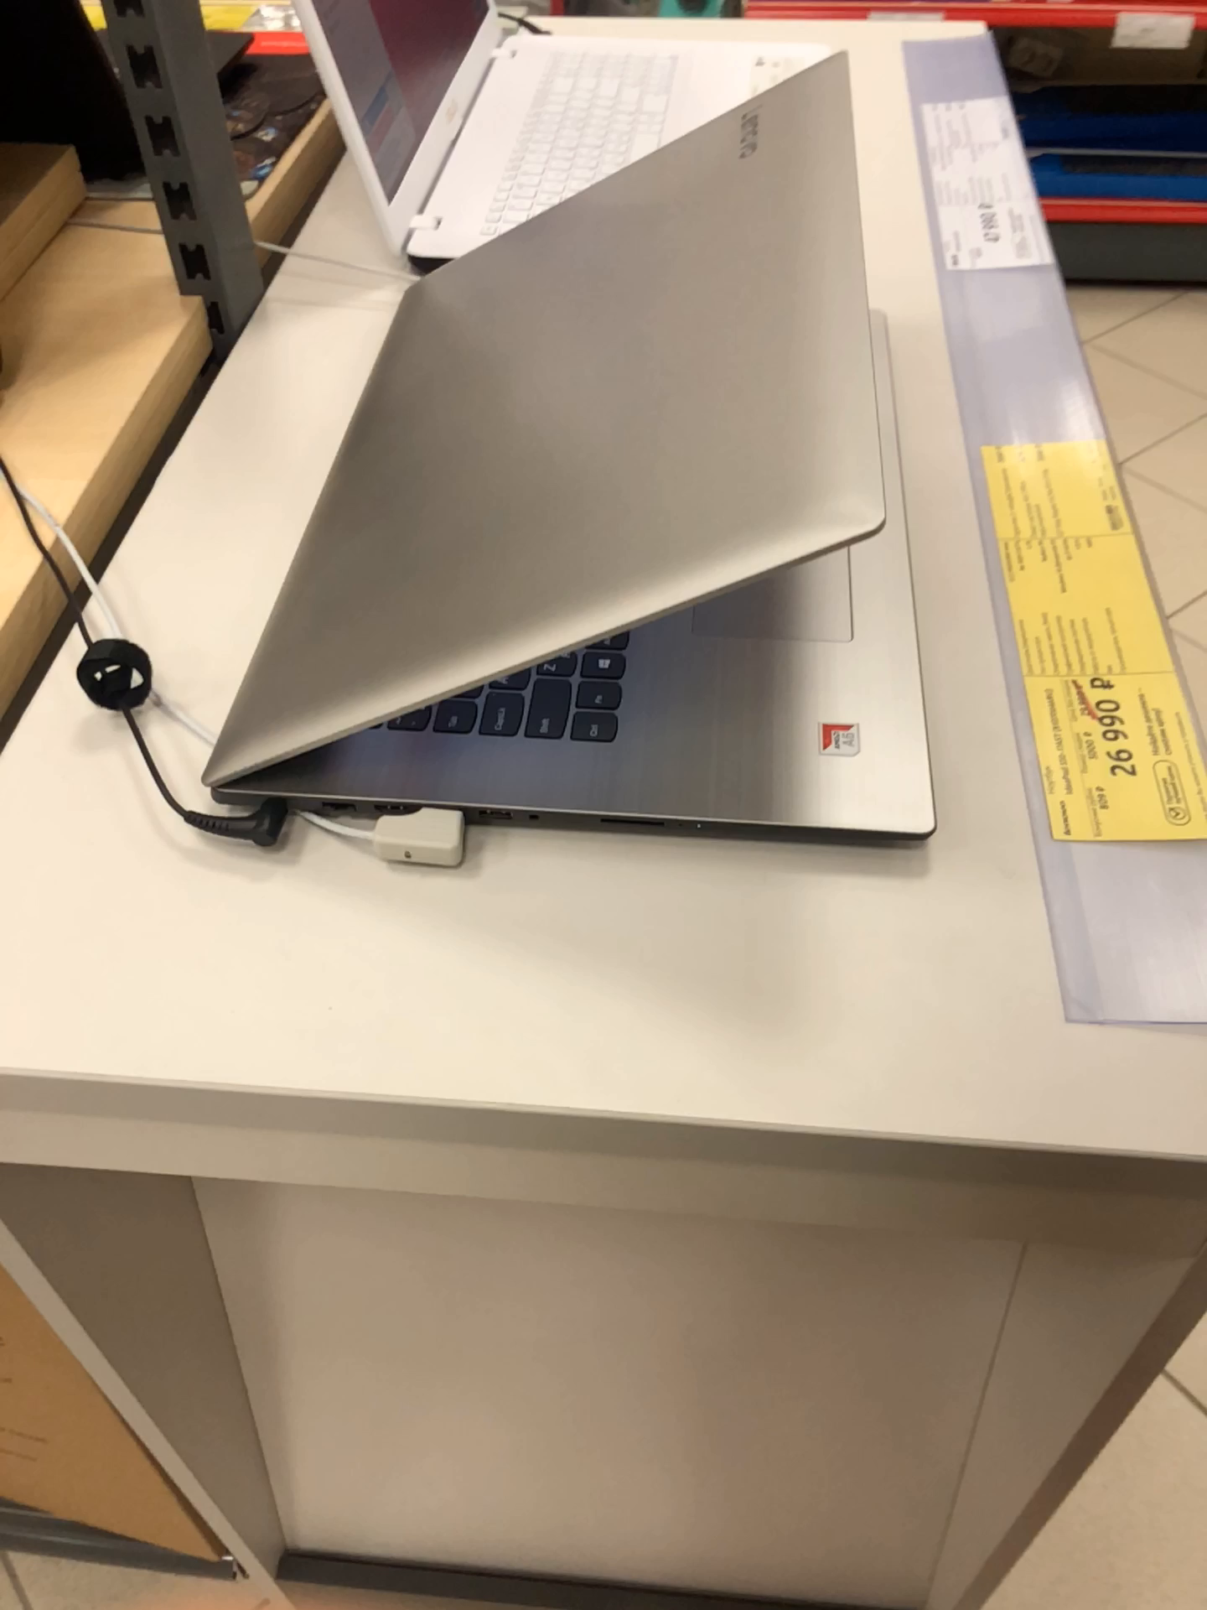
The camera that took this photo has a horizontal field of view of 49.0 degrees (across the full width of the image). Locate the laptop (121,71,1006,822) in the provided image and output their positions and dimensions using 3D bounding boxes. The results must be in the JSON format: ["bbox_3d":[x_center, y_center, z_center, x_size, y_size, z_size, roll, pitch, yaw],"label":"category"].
[{"bbox_3d":[0.004,-0.189,0.594,0.276,0.129,0.399,3,46,4],"label":"laptop"}]
